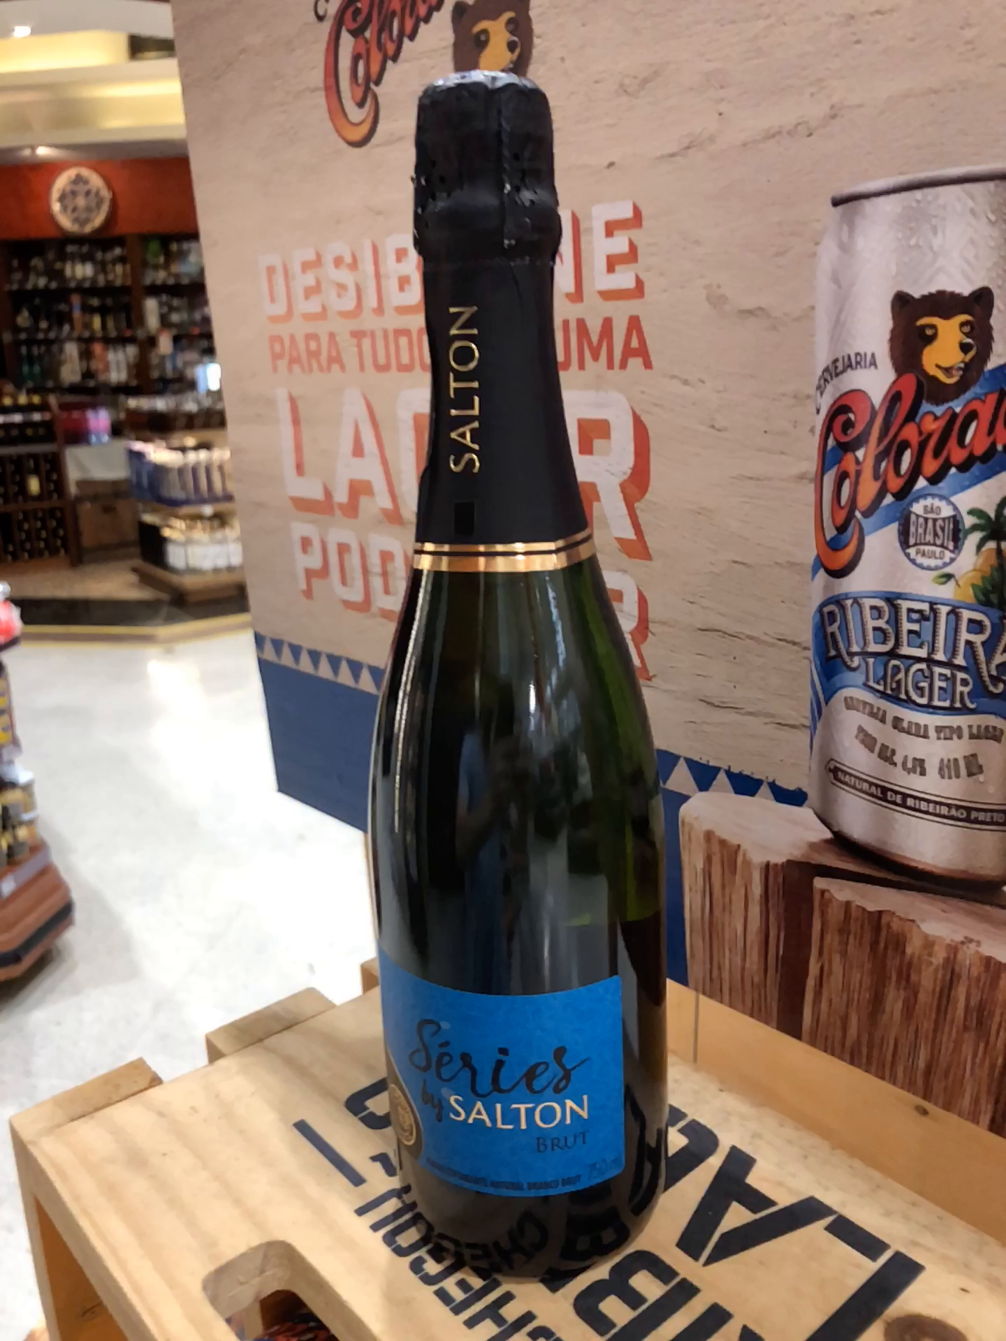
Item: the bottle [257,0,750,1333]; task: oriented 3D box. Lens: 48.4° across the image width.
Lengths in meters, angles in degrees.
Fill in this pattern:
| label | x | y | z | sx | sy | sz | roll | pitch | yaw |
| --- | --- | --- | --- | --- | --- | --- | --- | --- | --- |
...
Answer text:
| label | x | y | z | sx | sy | sz | roll | pitch | yaw |
| --- | --- | --- | --- | --- | --- | --- | --- | --- | --- |
| bottle | 0.009 | 0.001 | 0.296 | 0.090 | 0.318 | 0.080 | 4 | 16 | 20 |
